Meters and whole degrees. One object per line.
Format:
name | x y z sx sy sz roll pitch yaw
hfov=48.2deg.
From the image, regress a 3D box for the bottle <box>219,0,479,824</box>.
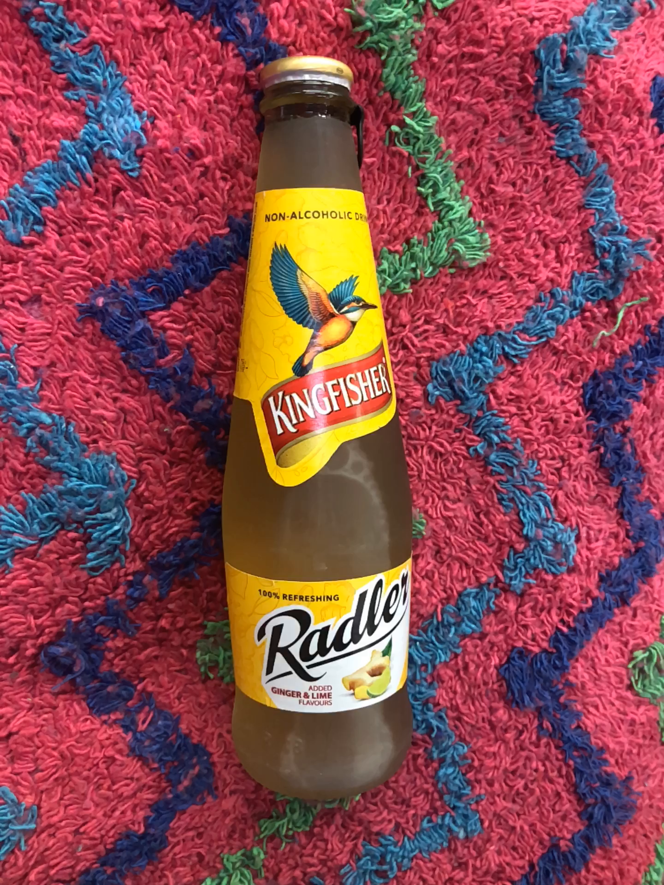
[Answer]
bottle | 0.004 -0.006 0.220 0.060 0.060 0.210 -3 99 -10
